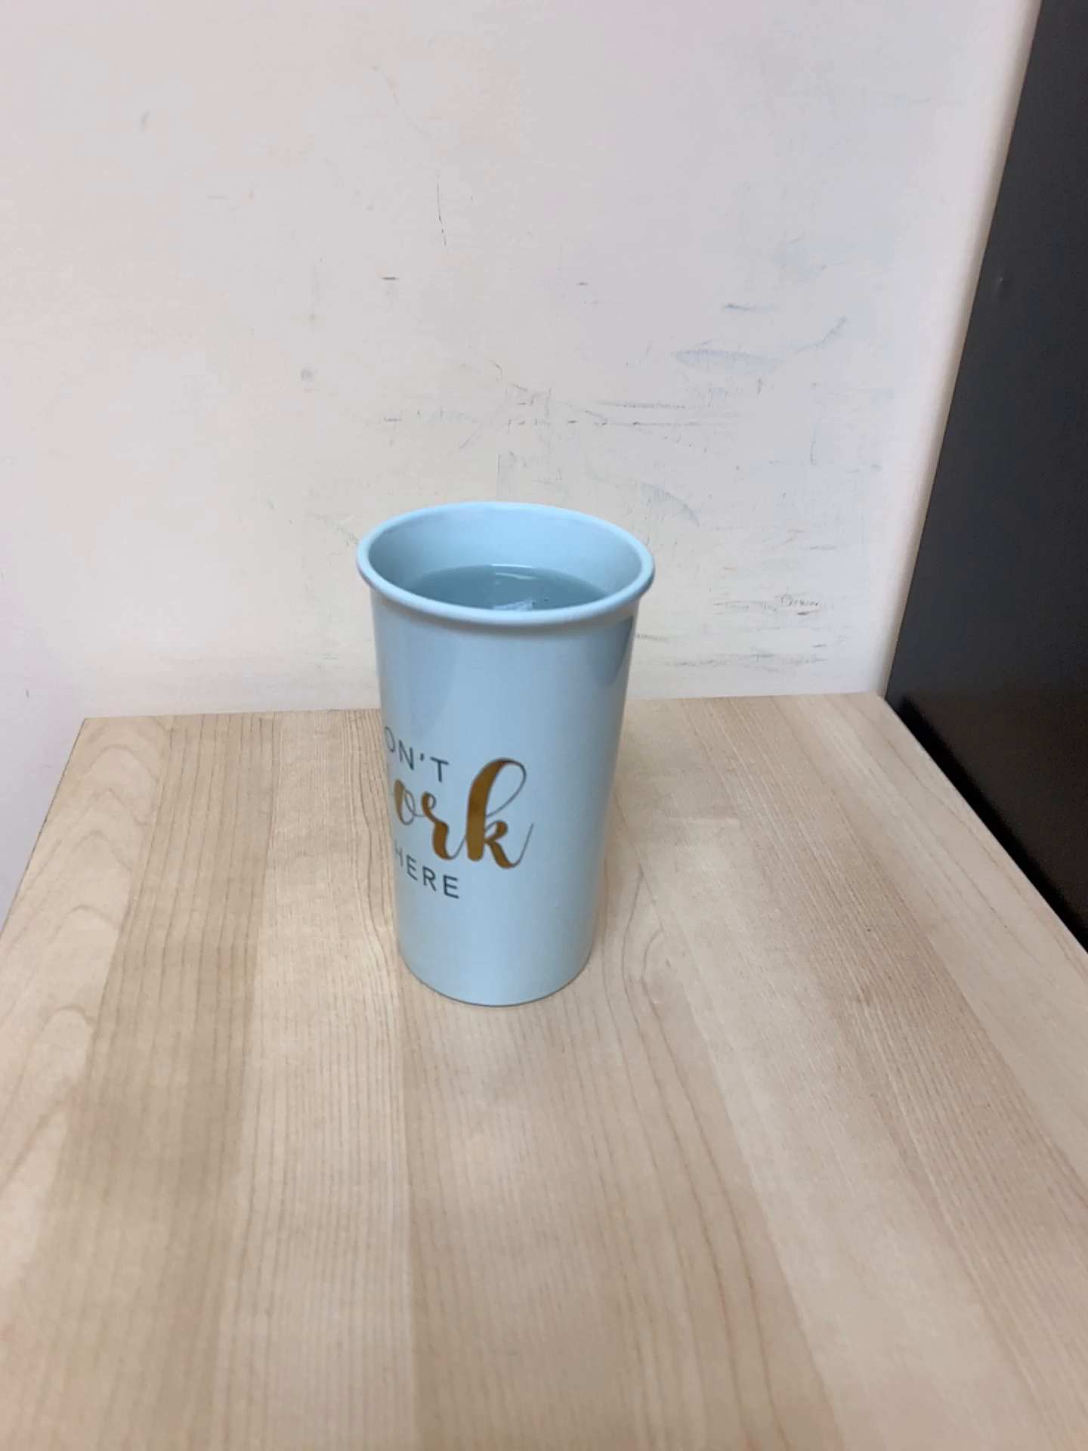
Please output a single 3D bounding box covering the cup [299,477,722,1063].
[{"bbox_3d":[-0.010,0.012,0.377,0.100,0.155,0.090,15,32,19],"label":"cup"}]
